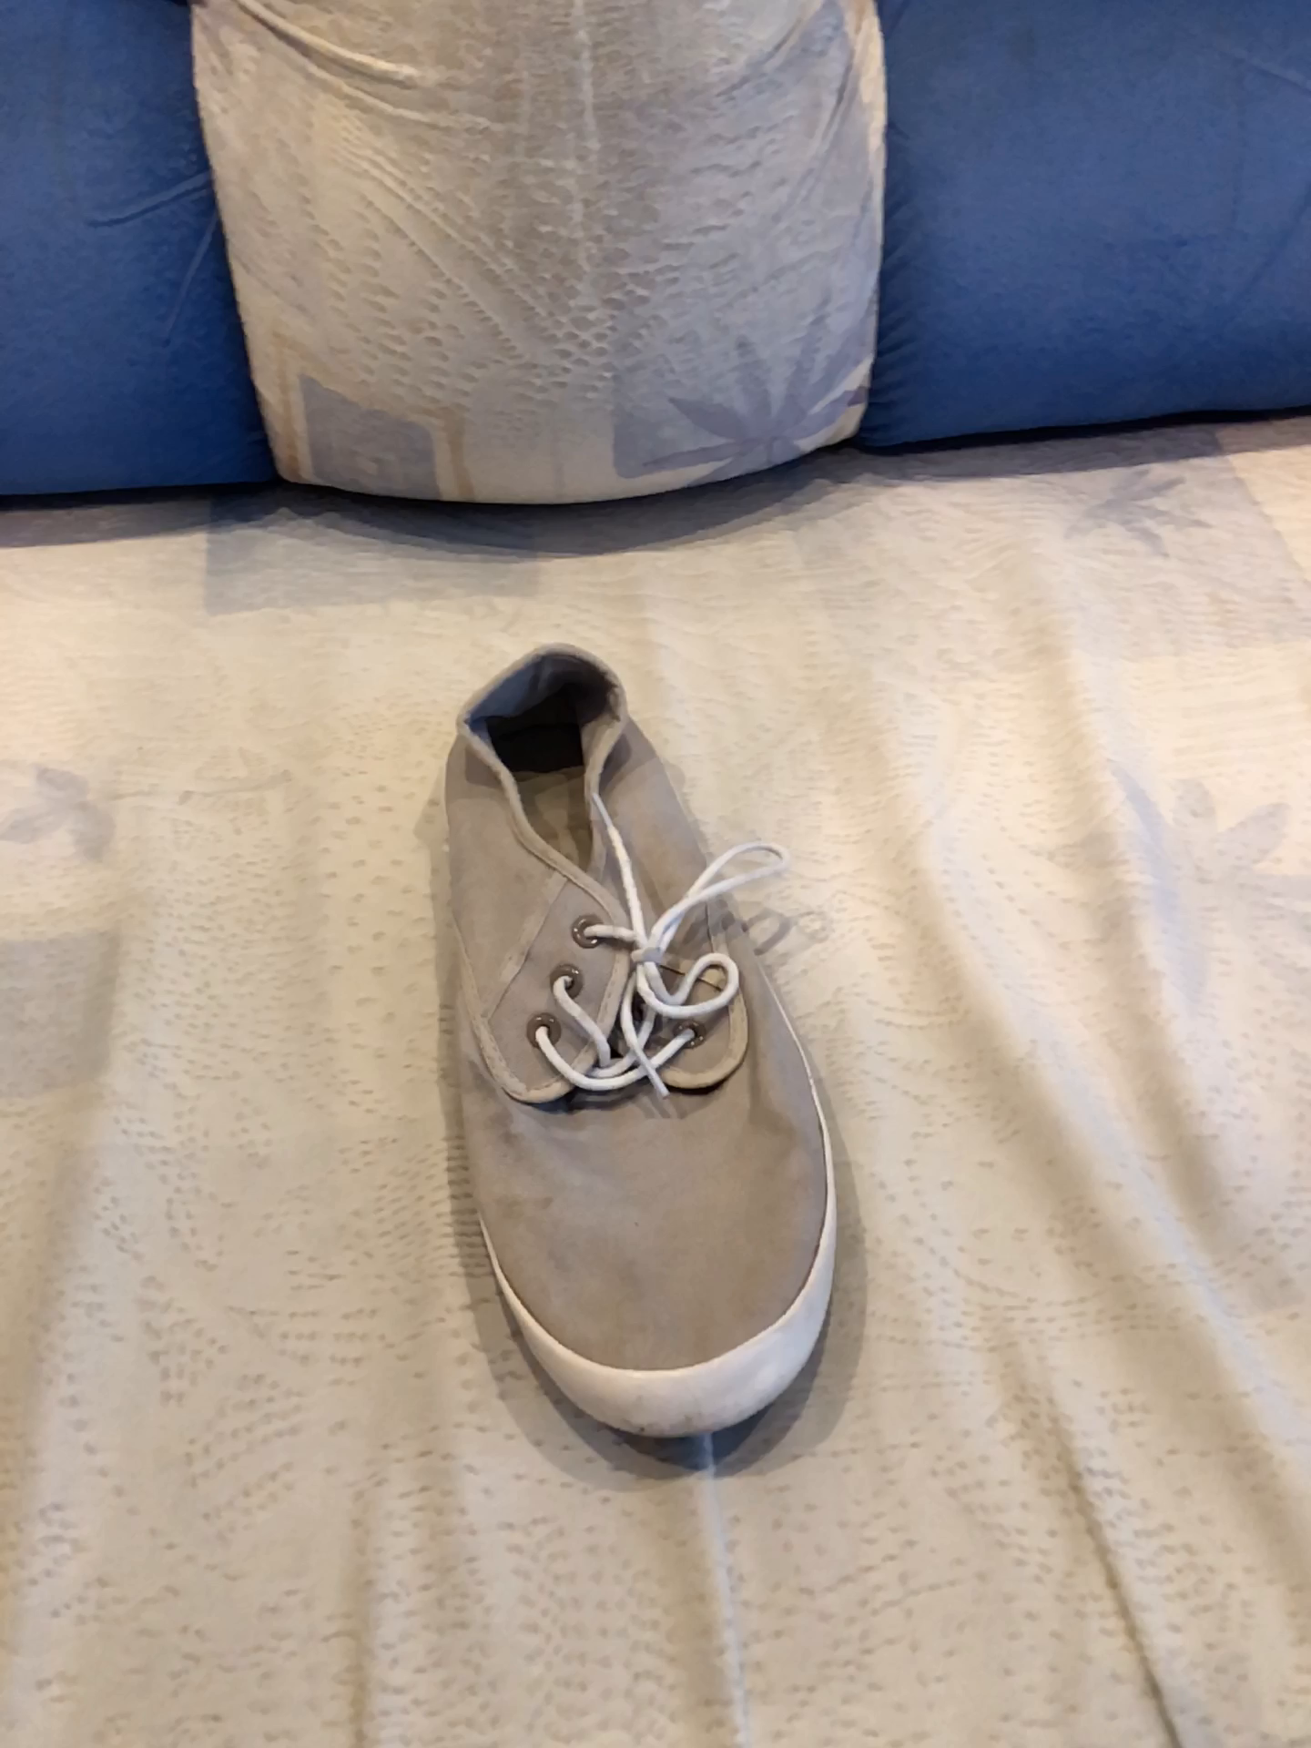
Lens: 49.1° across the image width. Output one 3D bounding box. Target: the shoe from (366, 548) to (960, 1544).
[{"bbox_3d":[-0.015,0.027,0.409,0.110,0.079,0.272,-7,50,-8],"label":"shoe"}]
